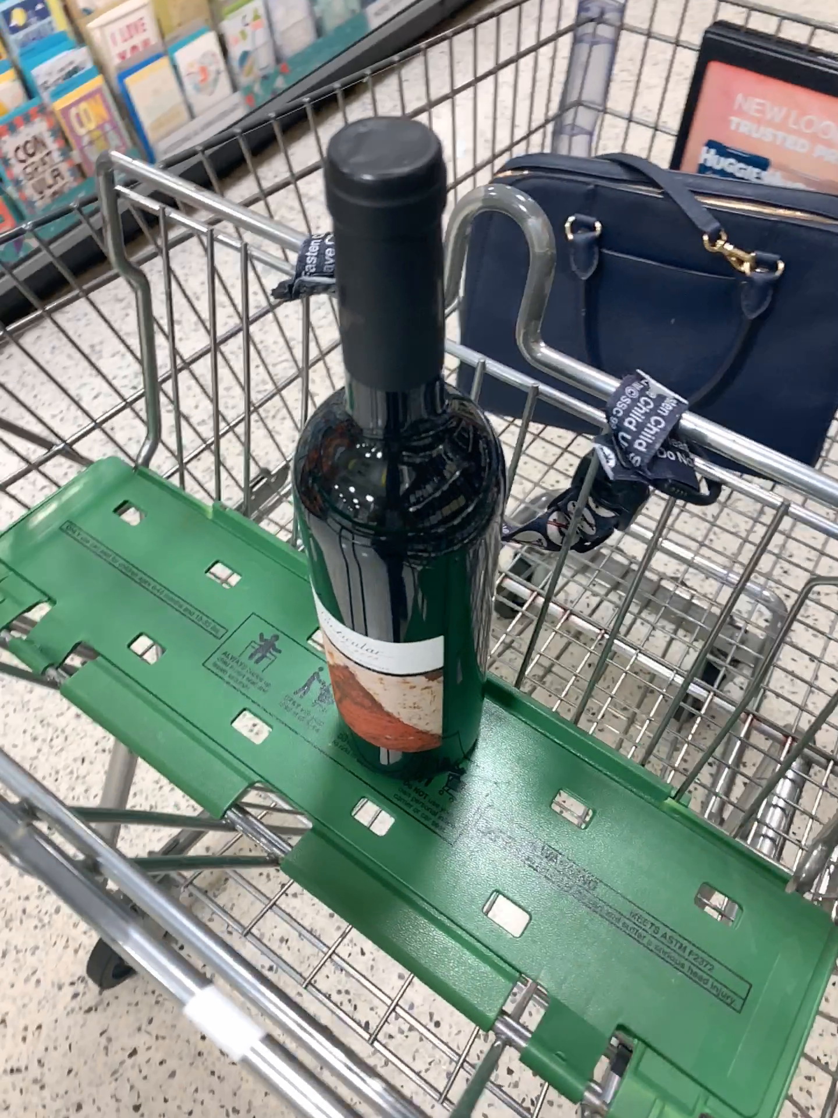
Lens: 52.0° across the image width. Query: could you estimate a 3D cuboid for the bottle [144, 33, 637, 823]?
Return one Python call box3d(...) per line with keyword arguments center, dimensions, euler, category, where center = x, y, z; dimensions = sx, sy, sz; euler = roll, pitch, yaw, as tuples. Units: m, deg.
box3d(center=(-0.005, -0.008, 0.318), dimensions=(0.080, 0.297, 0.080), euler=(0, 54, 0), category="bottle")
